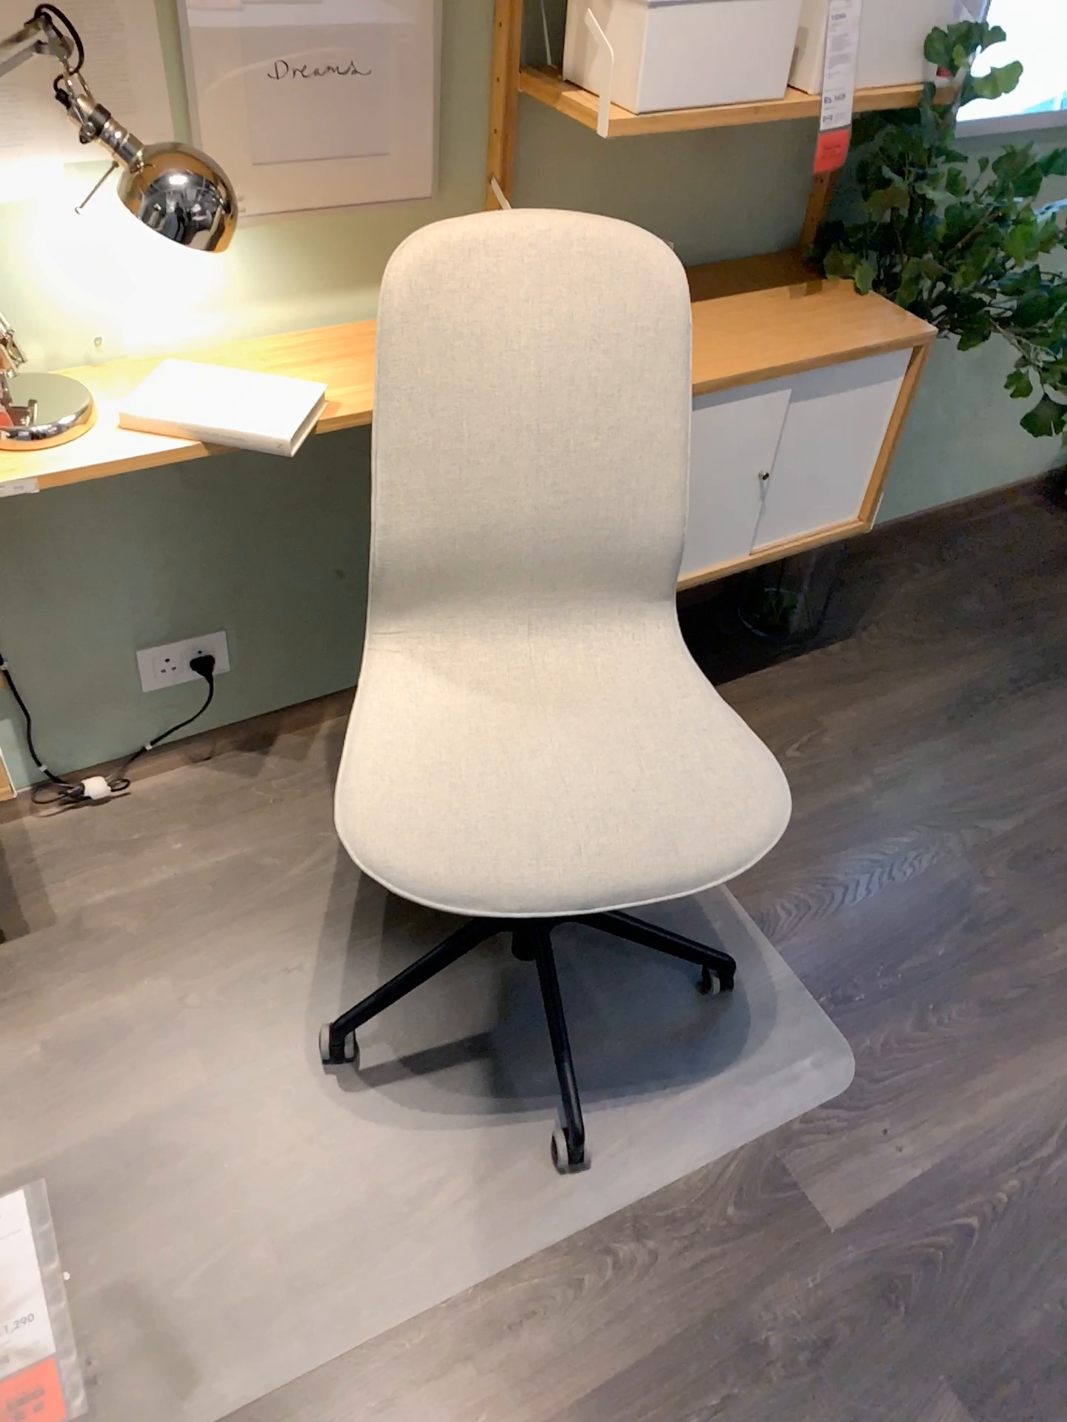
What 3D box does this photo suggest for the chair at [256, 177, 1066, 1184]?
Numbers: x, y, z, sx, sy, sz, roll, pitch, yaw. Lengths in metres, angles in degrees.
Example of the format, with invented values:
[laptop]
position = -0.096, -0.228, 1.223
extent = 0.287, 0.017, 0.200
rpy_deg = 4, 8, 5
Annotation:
[chair]
position = 0.048, -0.002, 1.275
extent = 0.620, 0.966, 0.622
rpy_deg = -3, 44, -10
